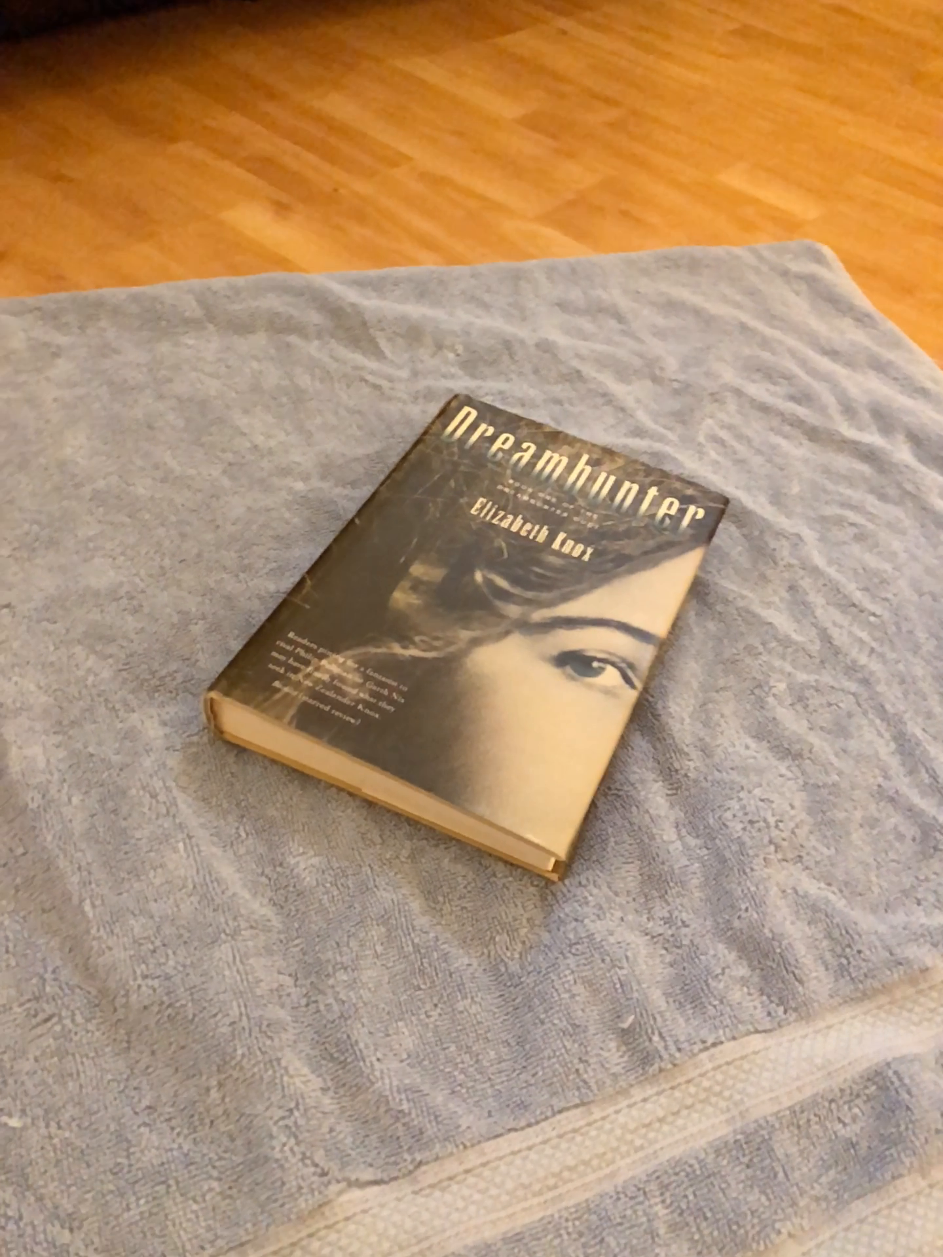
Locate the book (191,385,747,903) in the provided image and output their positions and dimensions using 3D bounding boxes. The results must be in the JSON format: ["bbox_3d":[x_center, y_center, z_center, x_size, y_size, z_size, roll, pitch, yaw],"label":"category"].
[{"bbox_3d":[0.012,-0.013,0.462,0.163,0.030,0.226,24,49,11],"label":"book"}]
